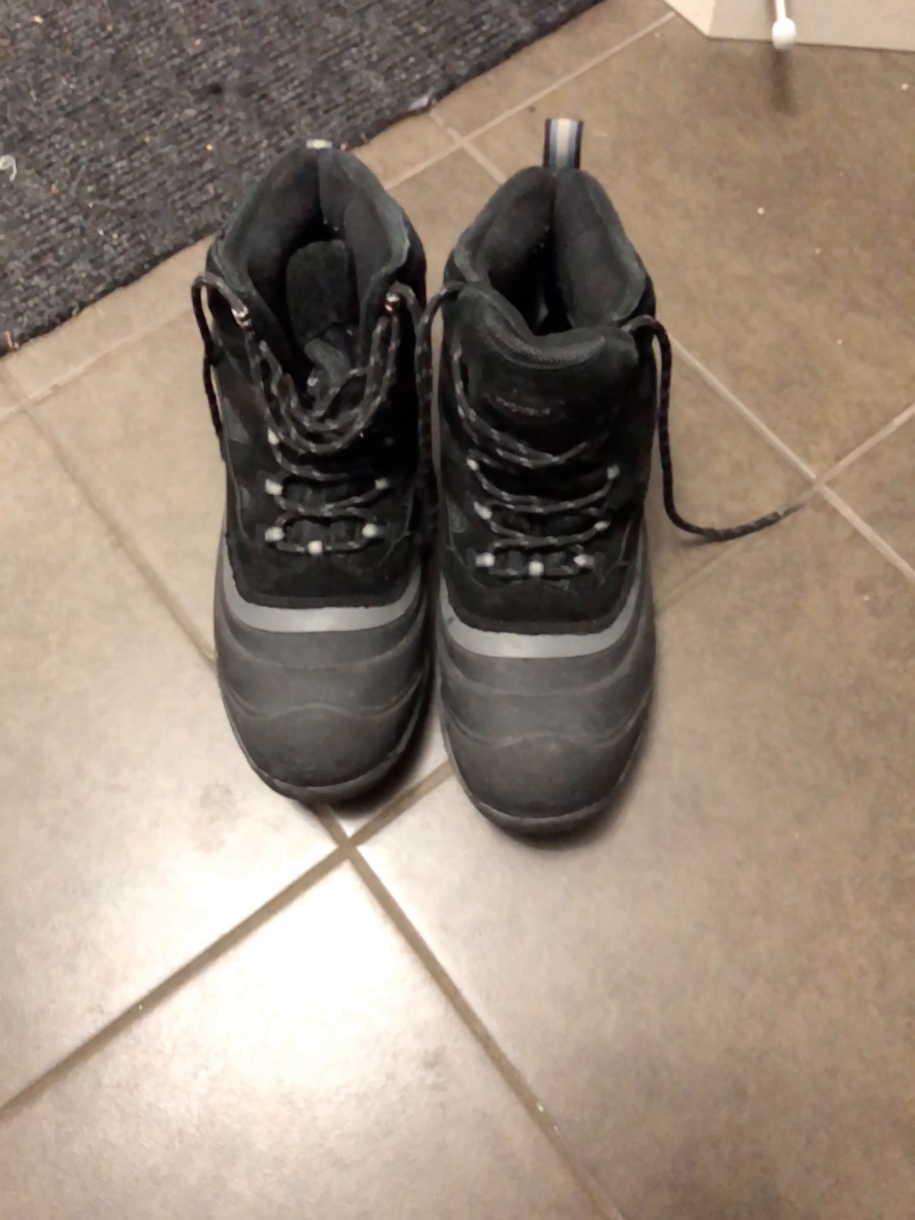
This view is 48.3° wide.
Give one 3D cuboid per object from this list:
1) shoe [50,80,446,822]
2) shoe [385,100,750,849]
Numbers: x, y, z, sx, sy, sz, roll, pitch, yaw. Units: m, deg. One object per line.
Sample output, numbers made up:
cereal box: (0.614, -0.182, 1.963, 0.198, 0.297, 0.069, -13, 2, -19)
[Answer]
shoe: (-0.073, -0.063, 0.492, 0.120, 0.200, 0.290, 1, 68, 1)
shoe: (0.039, -0.051, 0.483, 0.120, 0.200, 0.290, 0, 68, 1)
